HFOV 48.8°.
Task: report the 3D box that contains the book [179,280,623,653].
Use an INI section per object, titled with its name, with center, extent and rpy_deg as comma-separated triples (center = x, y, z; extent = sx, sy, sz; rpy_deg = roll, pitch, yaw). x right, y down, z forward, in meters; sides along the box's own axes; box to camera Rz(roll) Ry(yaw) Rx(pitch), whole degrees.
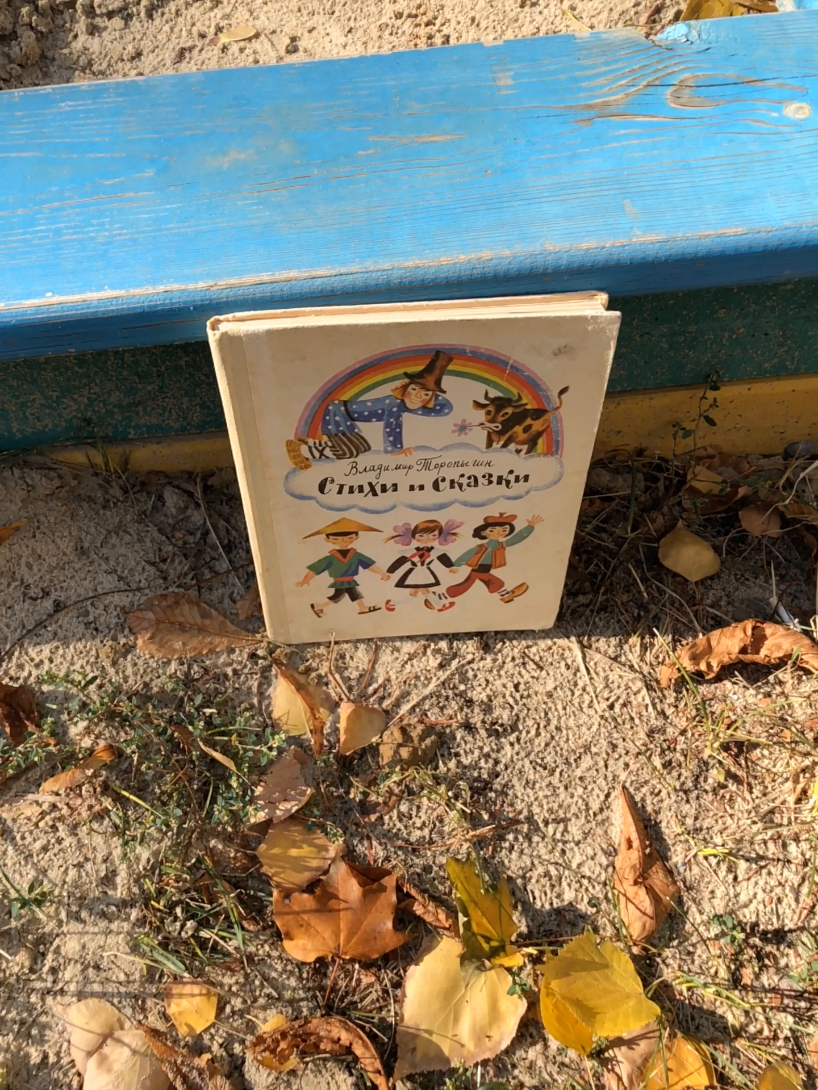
[book]
center = 0.000, -0.025, 0.446
extent = 0.178, 0.213, 0.024
rpy_deg = -3, 47, -1
